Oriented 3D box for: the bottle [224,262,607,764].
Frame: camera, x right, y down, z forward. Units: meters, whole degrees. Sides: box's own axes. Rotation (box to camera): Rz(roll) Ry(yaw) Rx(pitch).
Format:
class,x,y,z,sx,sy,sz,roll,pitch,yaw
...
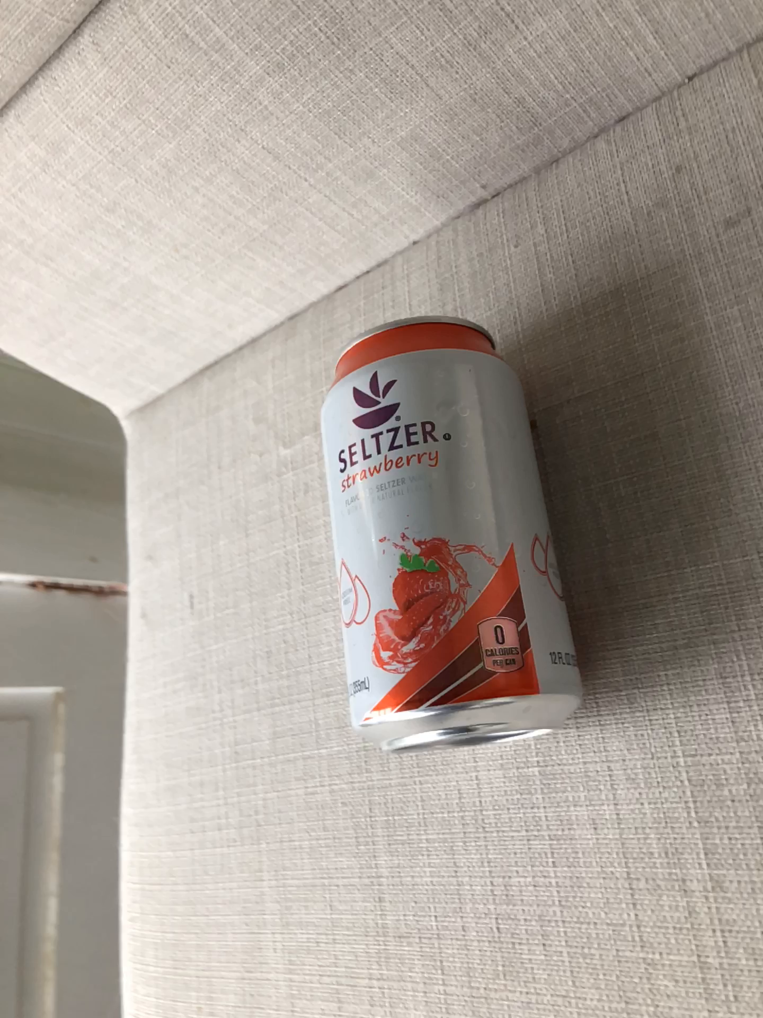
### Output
class,x,y,z,sx,sy,sz,roll,pitch,yaw
bottle,0.008,0.007,0.253,0.070,0.070,0.120,-20,69,34
